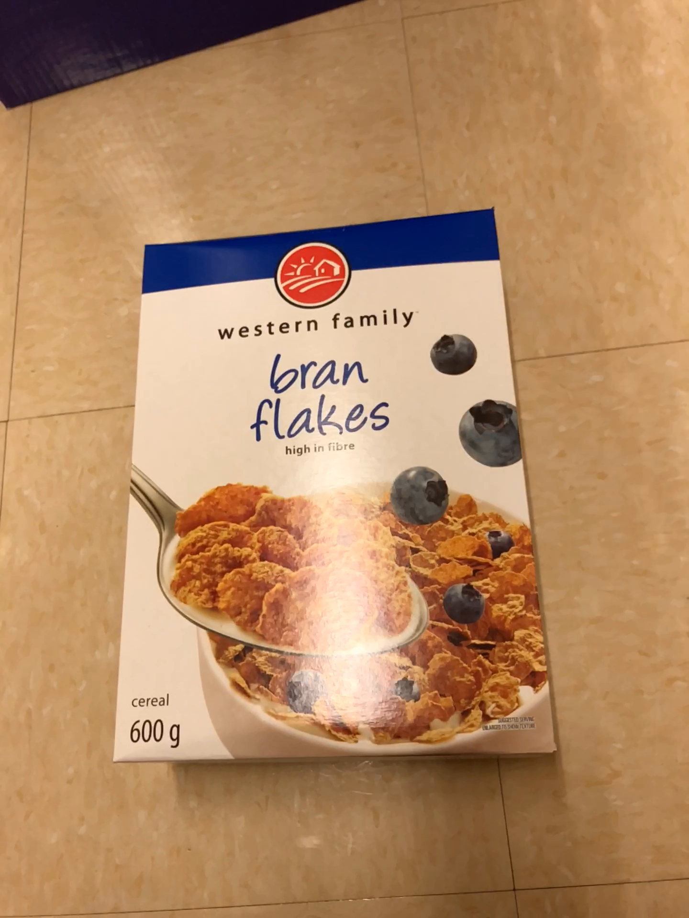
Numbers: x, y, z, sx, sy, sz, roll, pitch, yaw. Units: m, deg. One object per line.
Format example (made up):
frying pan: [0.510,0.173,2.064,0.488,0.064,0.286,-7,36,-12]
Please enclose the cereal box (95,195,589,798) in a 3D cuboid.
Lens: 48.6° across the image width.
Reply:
cereal box: [-0.005,0.019,0.426,0.220,0.090,0.301,-4,72,6]
